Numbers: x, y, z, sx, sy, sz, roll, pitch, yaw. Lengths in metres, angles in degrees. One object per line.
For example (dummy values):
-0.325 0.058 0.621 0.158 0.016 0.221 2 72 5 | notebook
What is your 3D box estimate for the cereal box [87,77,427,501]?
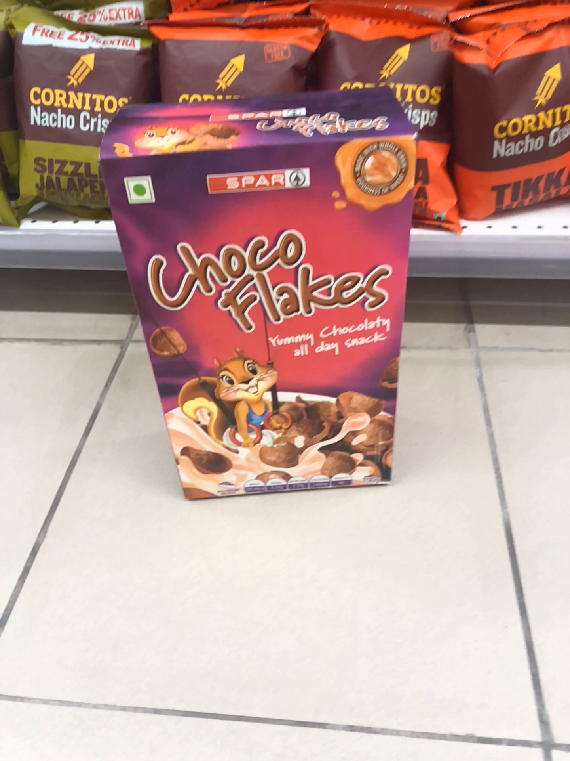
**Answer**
-0.010 -0.047 0.522 0.200 0.339 0.090 -4 43 0 | cereal box
